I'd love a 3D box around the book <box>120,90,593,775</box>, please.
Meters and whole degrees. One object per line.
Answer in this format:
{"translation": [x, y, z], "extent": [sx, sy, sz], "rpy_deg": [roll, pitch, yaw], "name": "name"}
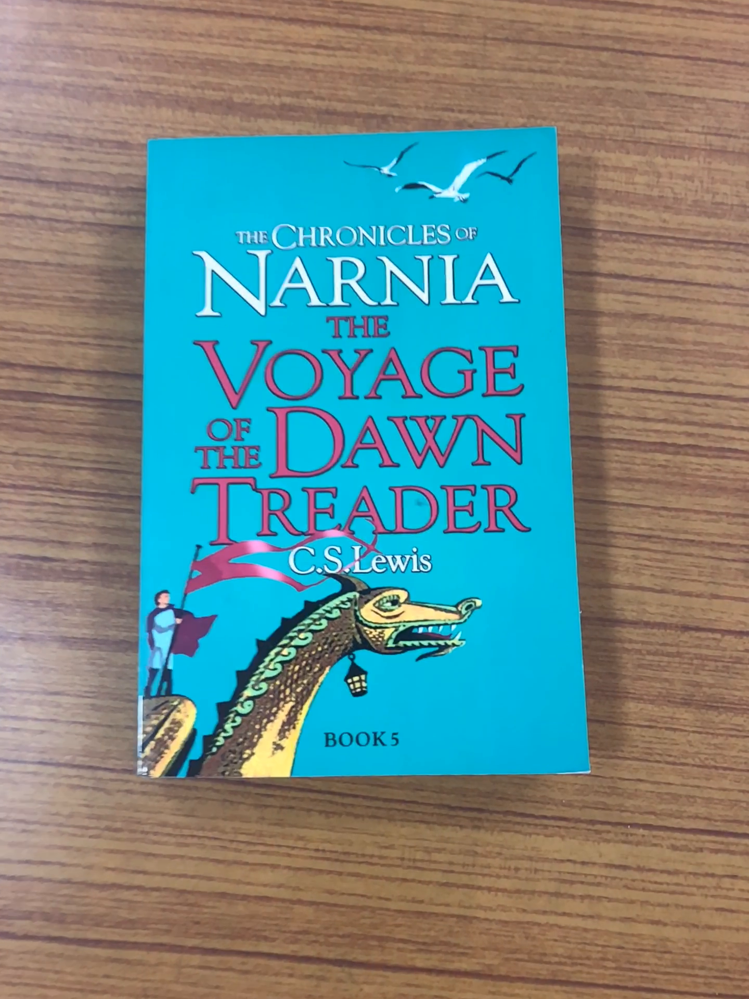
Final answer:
{"translation": [-0.007, -0.023, 0.258], "extent": [0.130, 0.030, 0.200], "rpy_deg": [-1, 83, 0], "name": "book"}
